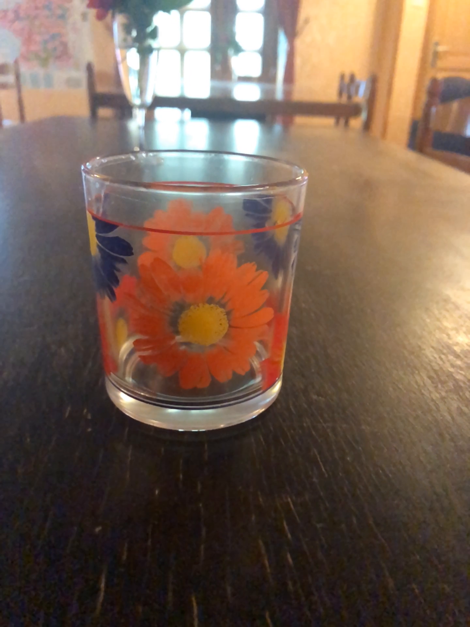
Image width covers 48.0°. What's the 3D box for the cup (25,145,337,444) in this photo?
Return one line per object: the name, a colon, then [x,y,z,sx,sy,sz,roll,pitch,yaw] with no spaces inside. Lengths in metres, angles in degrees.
cup: [-0.015,-0.011,0.183,0.078,0.079,0.076,2,24,-1]
